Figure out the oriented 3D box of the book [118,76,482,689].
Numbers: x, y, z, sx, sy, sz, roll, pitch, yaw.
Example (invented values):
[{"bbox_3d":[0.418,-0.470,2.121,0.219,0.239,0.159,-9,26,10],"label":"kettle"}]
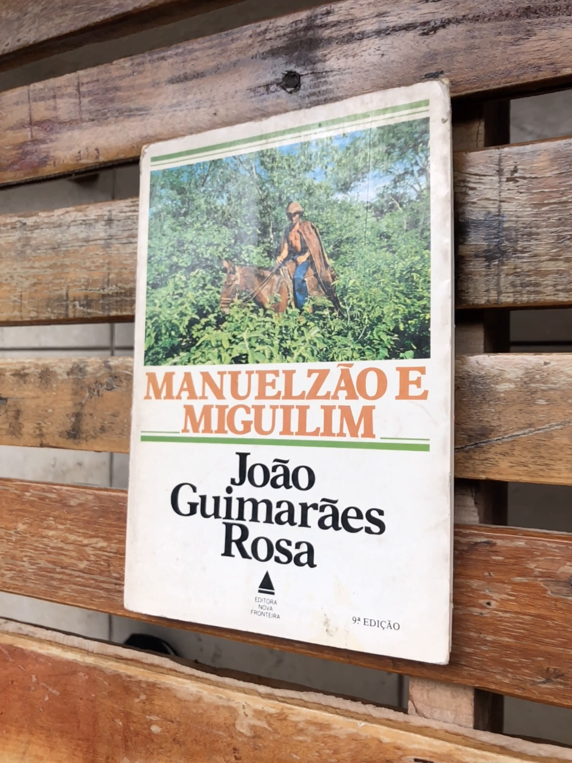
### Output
[{"bbox_3d":[0.000,-0.001,0.247,0.141,0.020,0.200,-2,86,26],"label":"book"}]
